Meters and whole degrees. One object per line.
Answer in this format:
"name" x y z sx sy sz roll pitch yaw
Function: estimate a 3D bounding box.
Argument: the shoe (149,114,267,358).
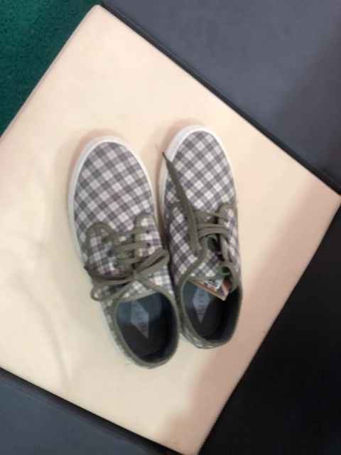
"shoe" 0.041 0.008 0.471 0.100 0.100 0.260 -6 94 -8

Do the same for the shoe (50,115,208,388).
"shoe" -0.046 0.025 0.449 0.100 0.100 0.270 -15 96 -7
